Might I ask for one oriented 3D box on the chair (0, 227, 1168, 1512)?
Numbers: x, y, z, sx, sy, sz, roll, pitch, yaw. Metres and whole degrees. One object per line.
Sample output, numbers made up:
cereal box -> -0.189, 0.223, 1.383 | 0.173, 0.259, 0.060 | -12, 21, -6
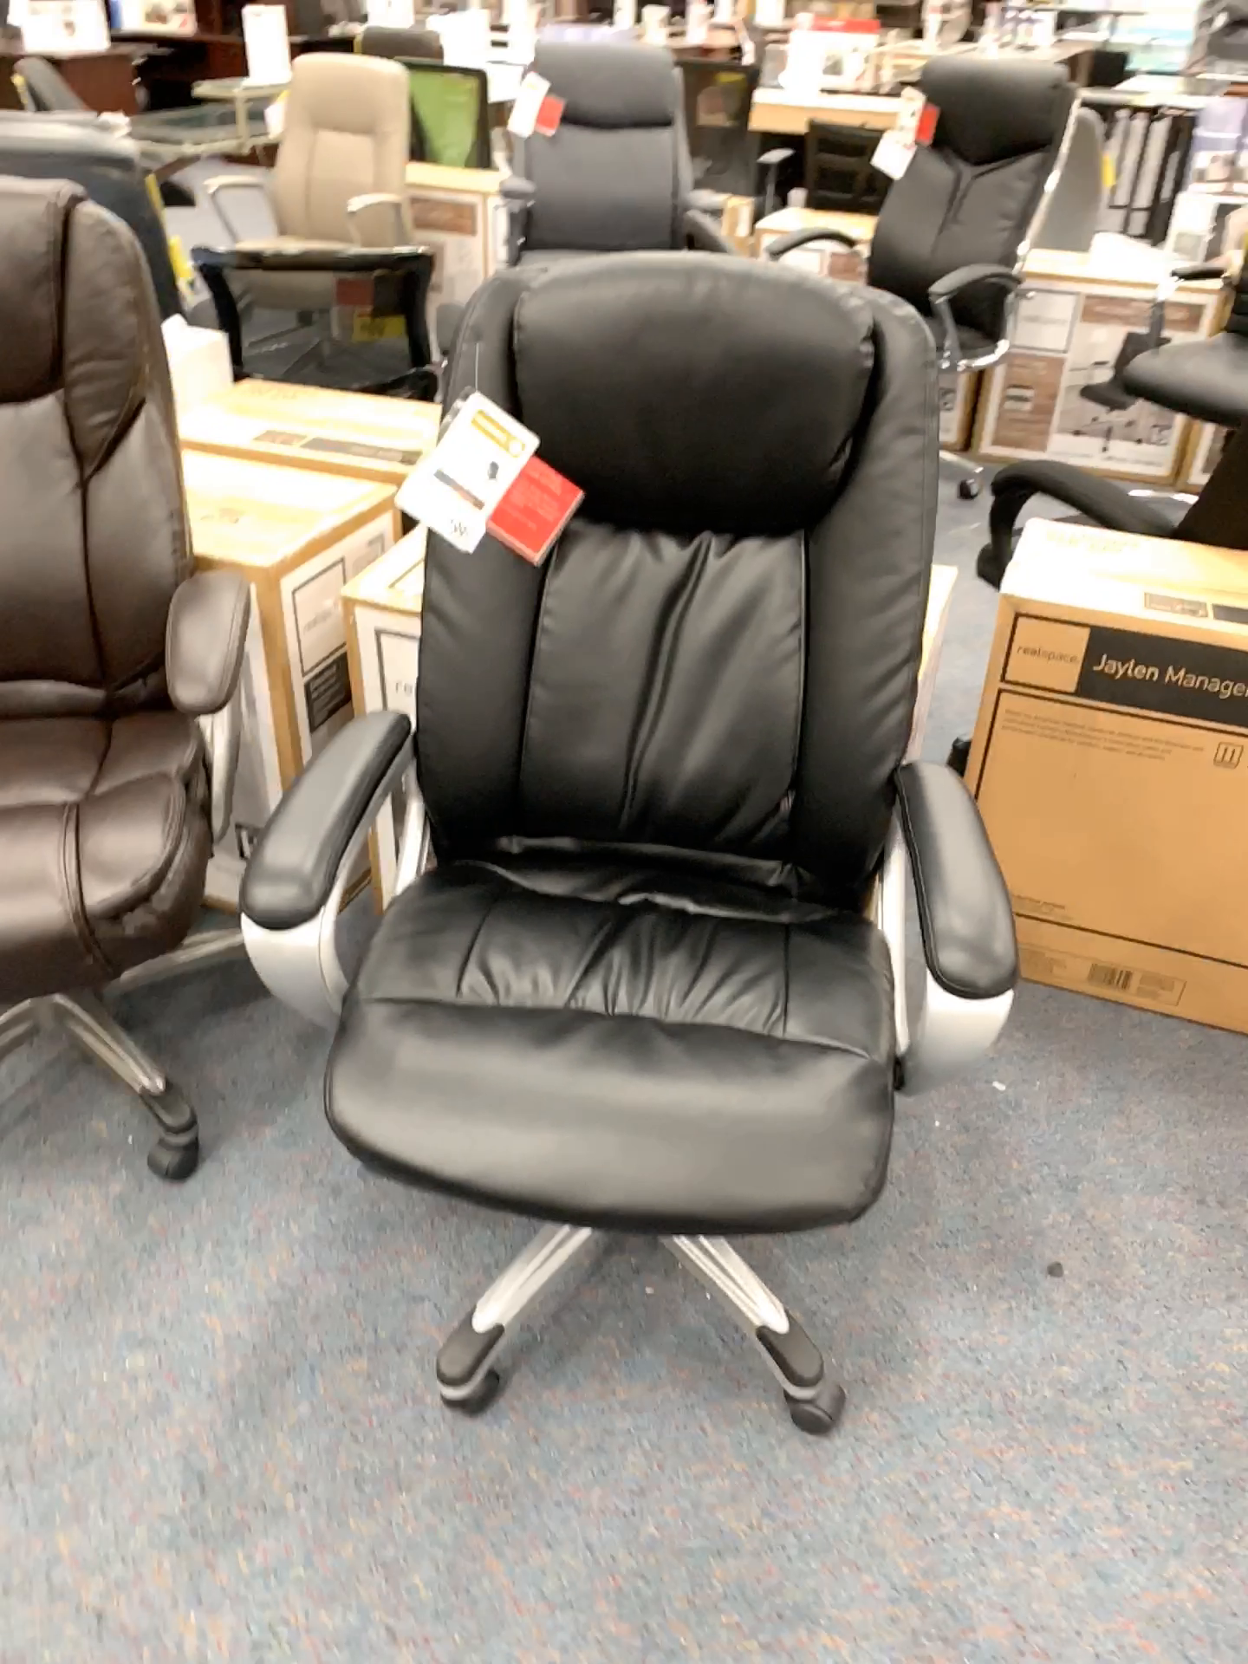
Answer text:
chair -> -0.013, 0.037, 1.295 | 0.674, 1.055, 0.661 | 5, 34, 5

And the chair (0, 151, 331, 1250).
chair -> -0.833, -0.177, 1.548 | 0.754, 1.045, 0.791 | -1, 34, -5
